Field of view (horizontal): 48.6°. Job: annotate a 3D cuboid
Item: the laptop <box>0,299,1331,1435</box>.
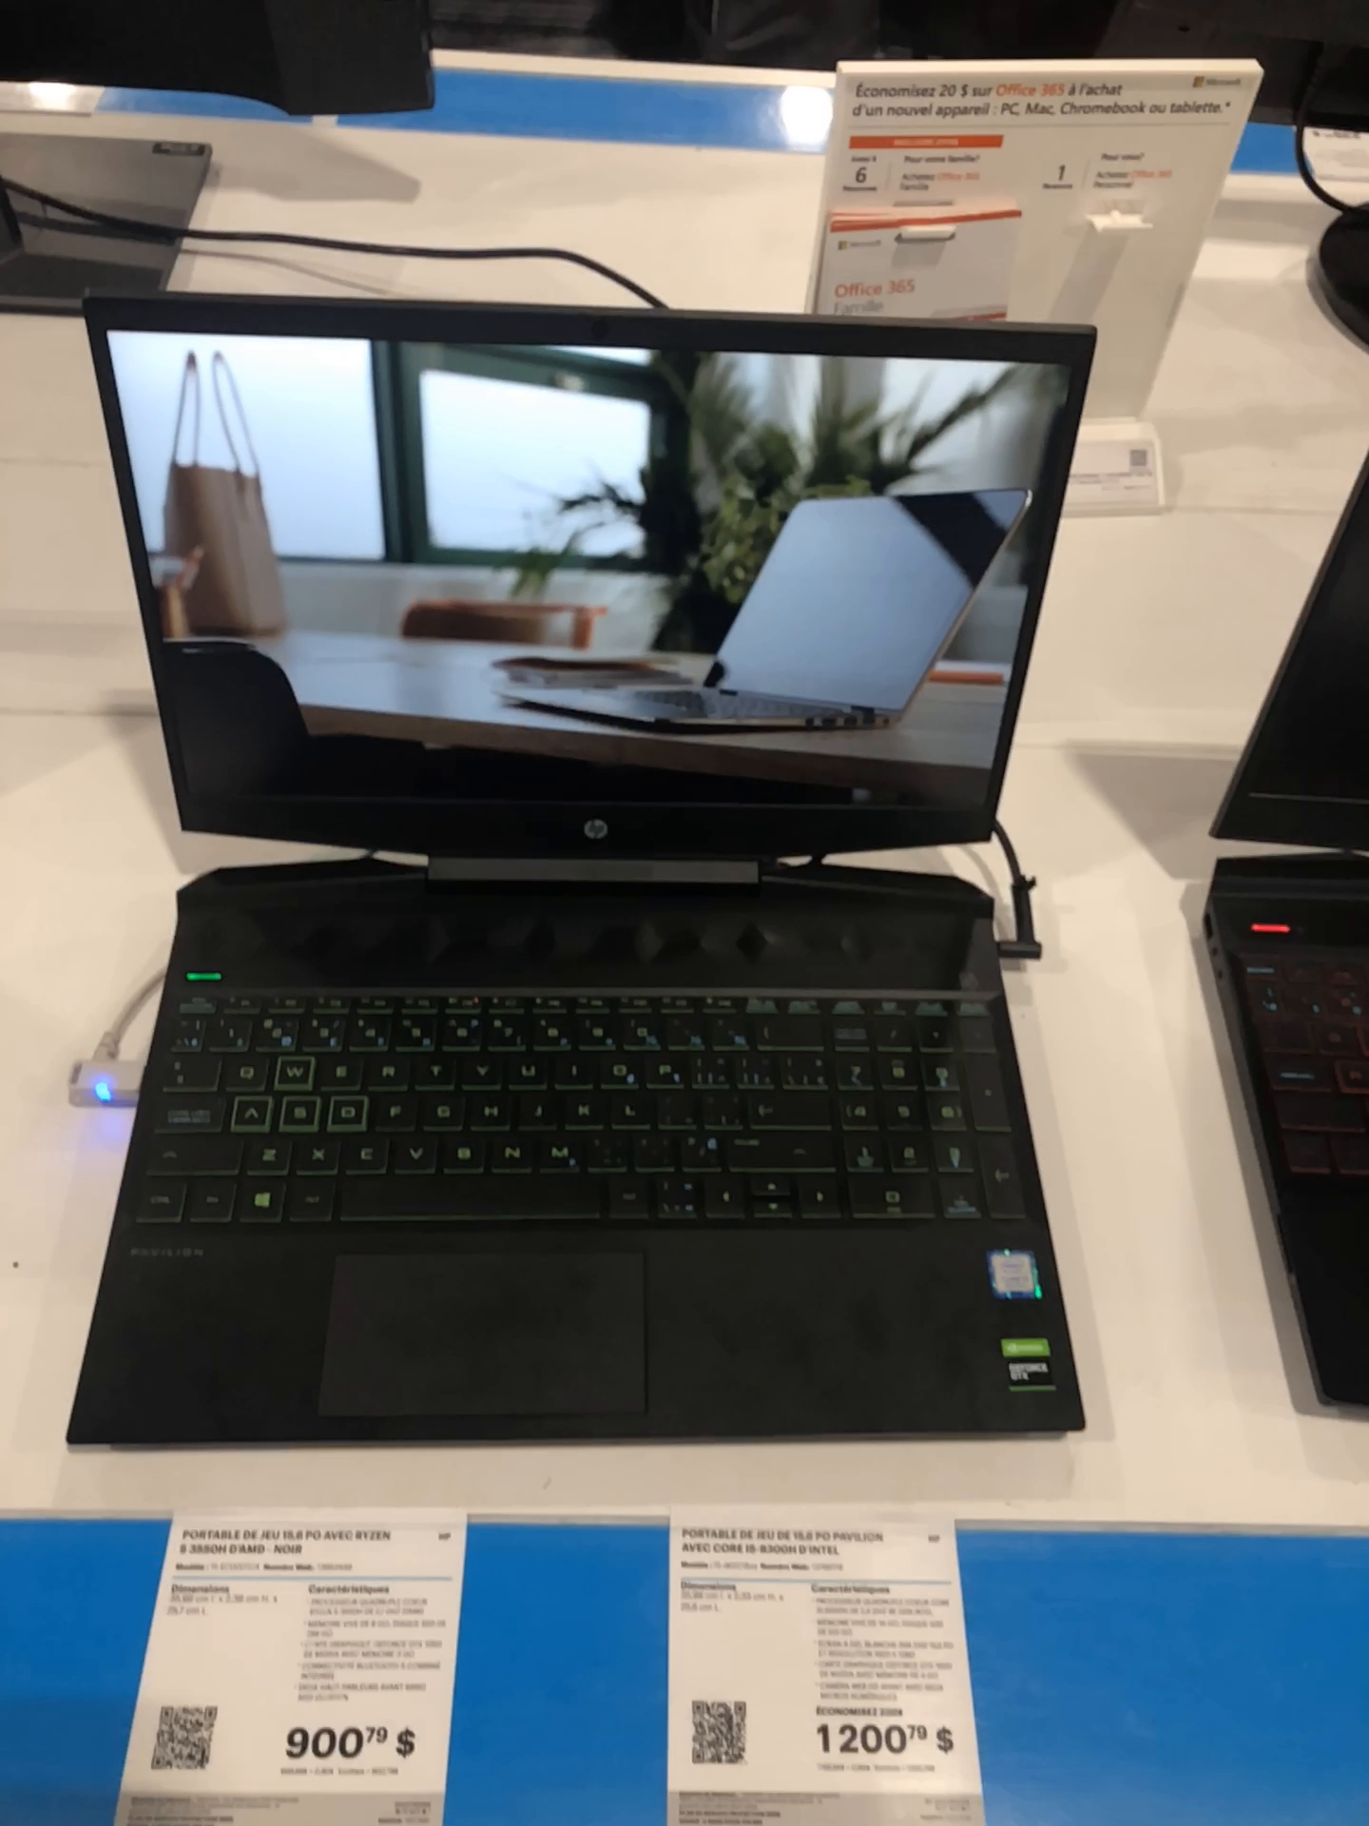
[{"bbox_3d":[-0.034,-0.015,0.537,0.355,0.232,0.317,1,52,-5],"label":"laptop"}]
